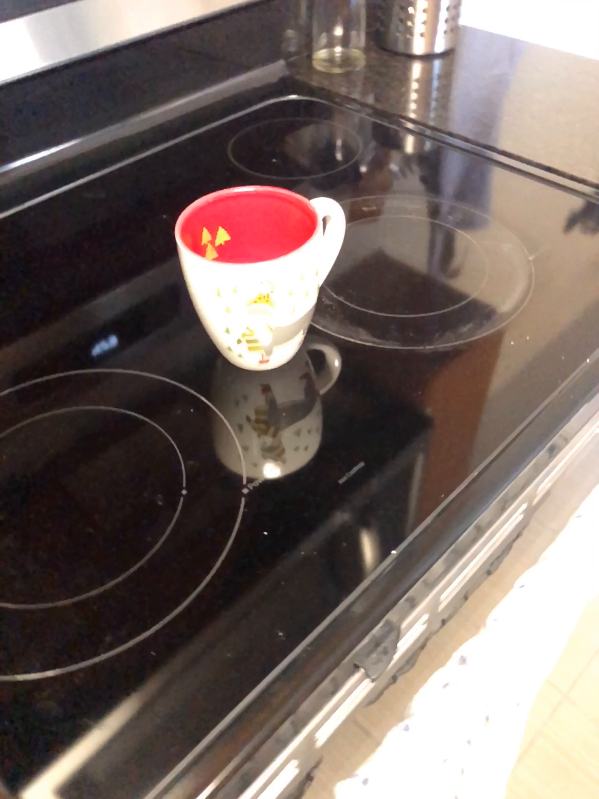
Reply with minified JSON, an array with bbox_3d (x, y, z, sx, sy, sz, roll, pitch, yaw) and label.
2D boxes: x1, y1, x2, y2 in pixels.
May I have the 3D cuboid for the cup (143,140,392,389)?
[{"bbox_3d":[-0.019,-0.103,0.488,0.100,0.100,0.140,32,55,29],"label":"cup"}]
